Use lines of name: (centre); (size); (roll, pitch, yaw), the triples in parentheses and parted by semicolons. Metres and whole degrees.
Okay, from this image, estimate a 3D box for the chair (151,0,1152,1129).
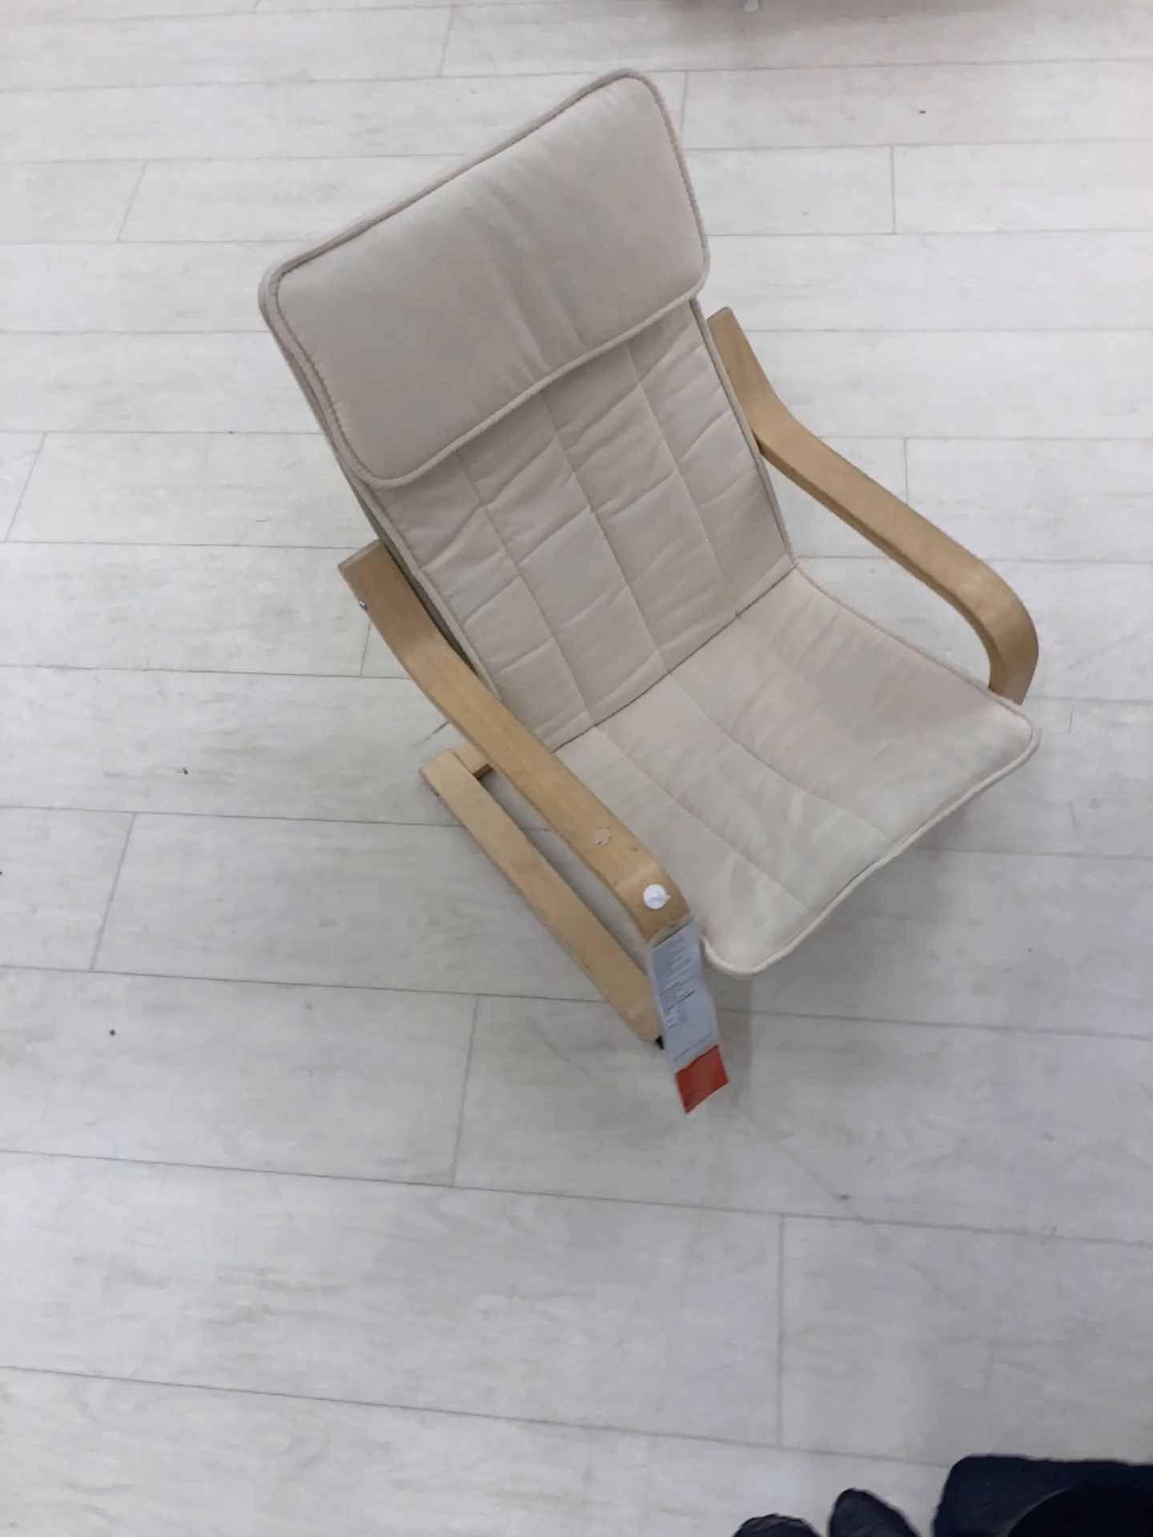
chair: (0.104, -0.140, 1.163); (0.530, 0.689, 0.561); (-37, 64, -14)
